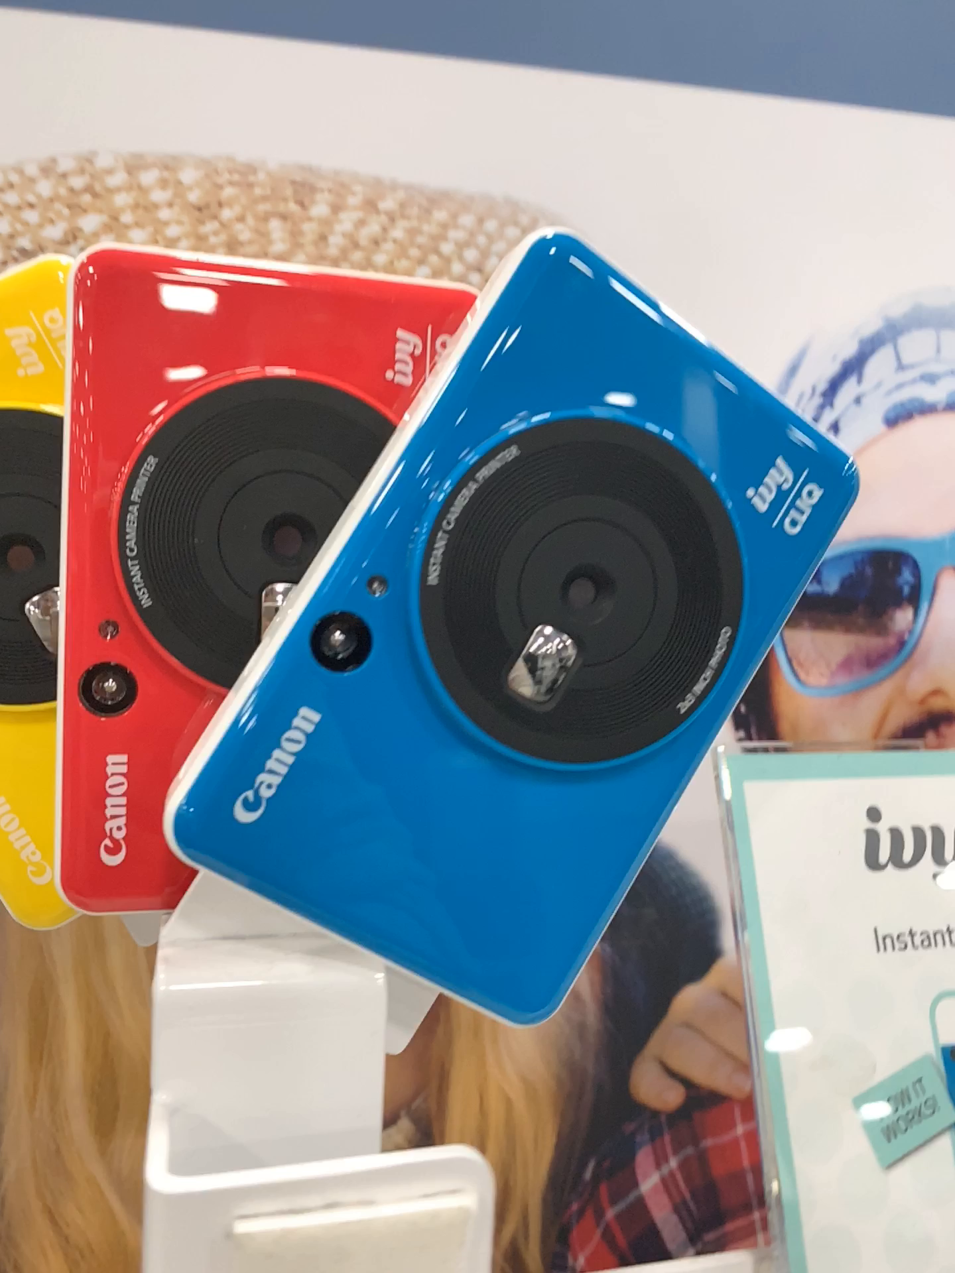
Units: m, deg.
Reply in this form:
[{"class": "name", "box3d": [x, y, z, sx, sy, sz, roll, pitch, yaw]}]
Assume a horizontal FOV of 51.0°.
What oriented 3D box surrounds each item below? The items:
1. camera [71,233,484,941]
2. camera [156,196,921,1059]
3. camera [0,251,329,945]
[{"class": "camera", "box3d": [-0.039, -0.006, 0.194, 0.067, 0.123, 0.030, 3, 9, -11]}, {"class": "camera", "box3d": [0.011, 0.000, 0.173, 0.077, 0.114, 0.030, 34, -3, -18]}, {"class": "camera", "box3d": [-0.090, -0.006, 0.212, 0.068, 0.123, 0.030, -26, 18, -5]}]
